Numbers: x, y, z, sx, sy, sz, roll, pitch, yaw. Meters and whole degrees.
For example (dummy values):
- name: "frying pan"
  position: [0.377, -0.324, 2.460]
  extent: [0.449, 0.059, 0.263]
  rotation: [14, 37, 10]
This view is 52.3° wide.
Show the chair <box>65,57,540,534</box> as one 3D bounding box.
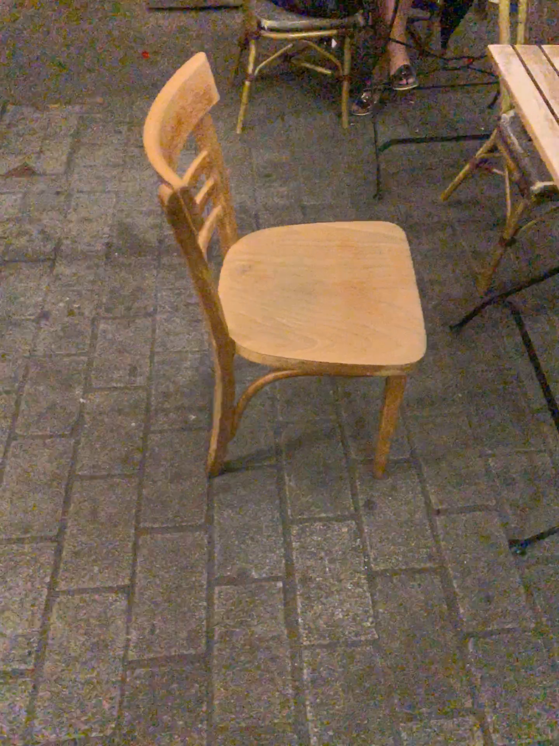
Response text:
- name: "chair"
  position: [0.022, -0.098, 1.105]
  extent: [0.540, 0.763, 0.515]
  rotation: [-1, 50, -1]
